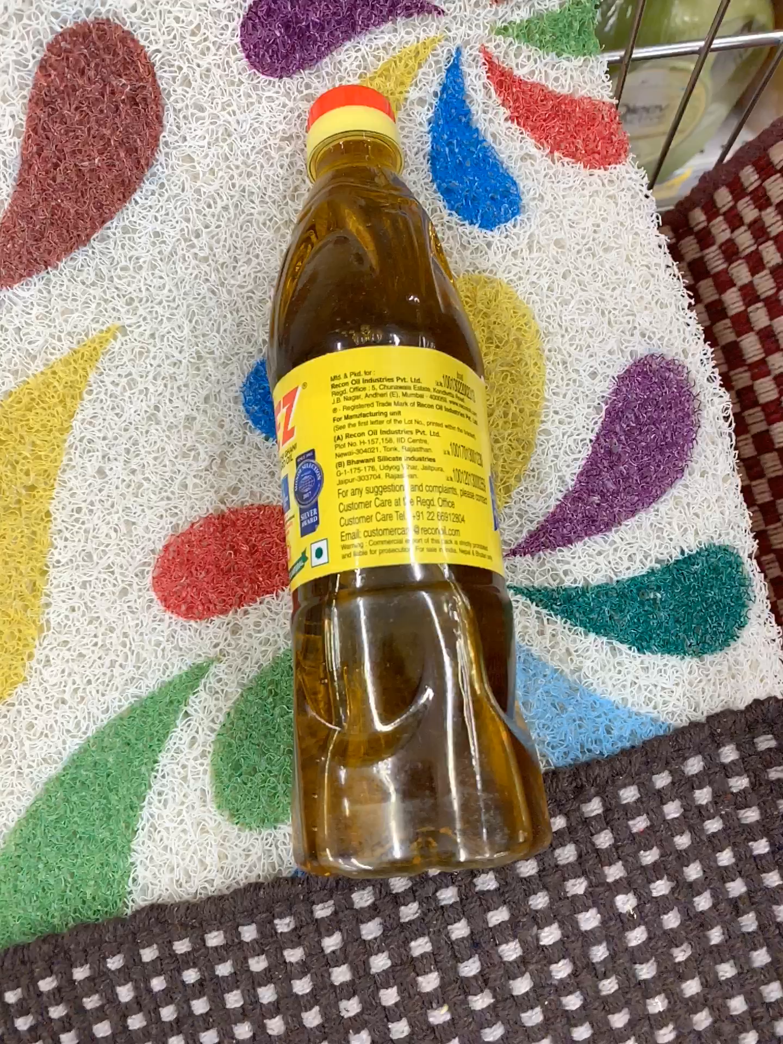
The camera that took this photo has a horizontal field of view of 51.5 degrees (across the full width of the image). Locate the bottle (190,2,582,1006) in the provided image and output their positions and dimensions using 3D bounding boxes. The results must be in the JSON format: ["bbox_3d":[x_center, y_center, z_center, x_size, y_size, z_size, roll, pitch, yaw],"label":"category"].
[{"bbox_3d":[-0.009,-0.010,0.193,0.070,0.060,0.200,-1,79,-10],"label":"bottle"}]
